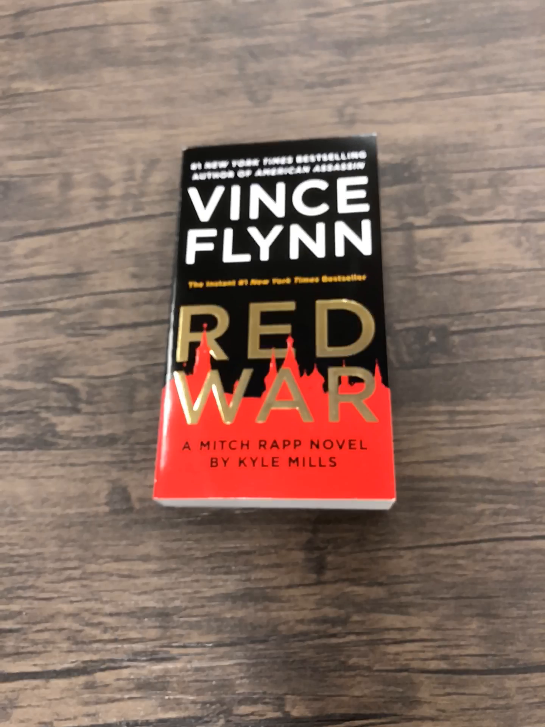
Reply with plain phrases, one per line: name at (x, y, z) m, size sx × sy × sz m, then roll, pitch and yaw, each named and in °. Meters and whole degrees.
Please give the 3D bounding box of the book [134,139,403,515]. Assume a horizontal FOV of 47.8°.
book at (-0.001, -0.023, 0.298) m, size 0.110 × 0.030 × 0.183 m, roll -2°, pitch 67°, yaw 5°
